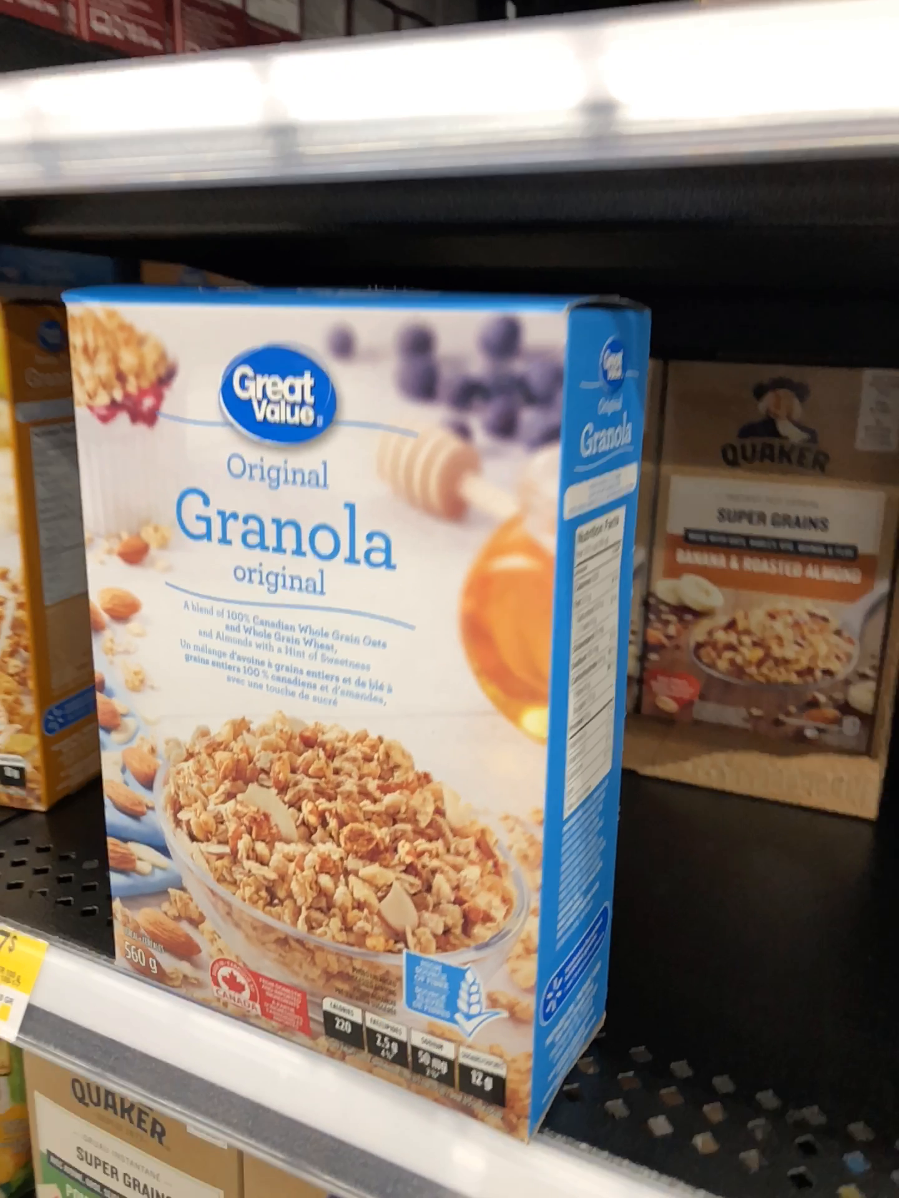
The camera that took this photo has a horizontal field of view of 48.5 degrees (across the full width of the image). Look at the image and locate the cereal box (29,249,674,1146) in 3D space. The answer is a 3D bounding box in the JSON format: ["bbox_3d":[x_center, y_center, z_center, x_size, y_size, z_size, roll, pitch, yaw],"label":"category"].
[{"bbox_3d":[-0.031,0.015,0.295,0.160,0.219,0.070,9,17,27],"label":"cereal box"}]
